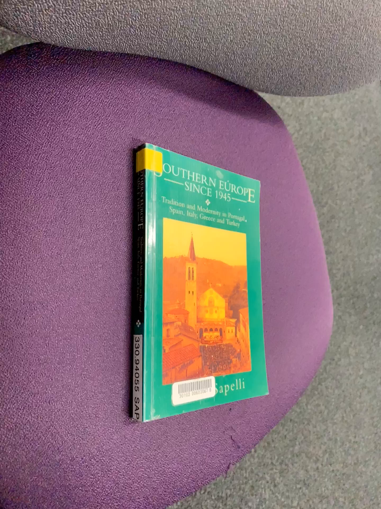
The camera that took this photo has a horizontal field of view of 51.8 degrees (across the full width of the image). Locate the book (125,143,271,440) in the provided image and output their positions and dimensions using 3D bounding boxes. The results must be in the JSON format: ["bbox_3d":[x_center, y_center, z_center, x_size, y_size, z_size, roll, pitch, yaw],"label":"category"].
[{"bbox_3d":[0.014,0.029,0.351,0.154,0.020,0.221,6,80,-42],"label":"book"}]
